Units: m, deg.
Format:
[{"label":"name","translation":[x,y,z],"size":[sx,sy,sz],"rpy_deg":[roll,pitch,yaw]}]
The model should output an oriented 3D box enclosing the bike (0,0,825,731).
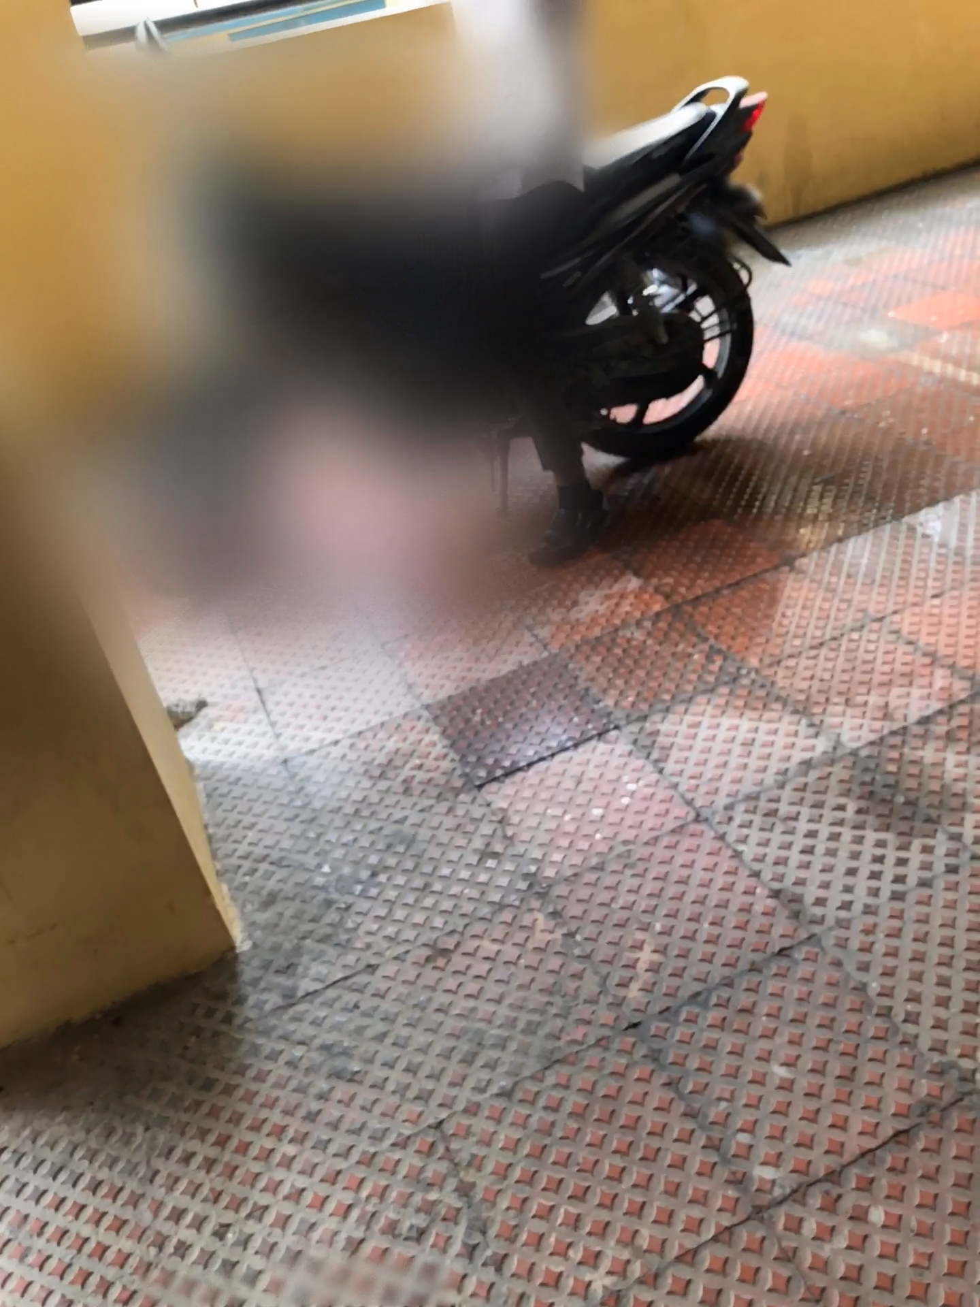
[{"label":"bike","translation":[-0.145,-0.850,2.738],"size":[1.879,1.185,0.813],"rpy_deg":[-21,34,-13]}]
